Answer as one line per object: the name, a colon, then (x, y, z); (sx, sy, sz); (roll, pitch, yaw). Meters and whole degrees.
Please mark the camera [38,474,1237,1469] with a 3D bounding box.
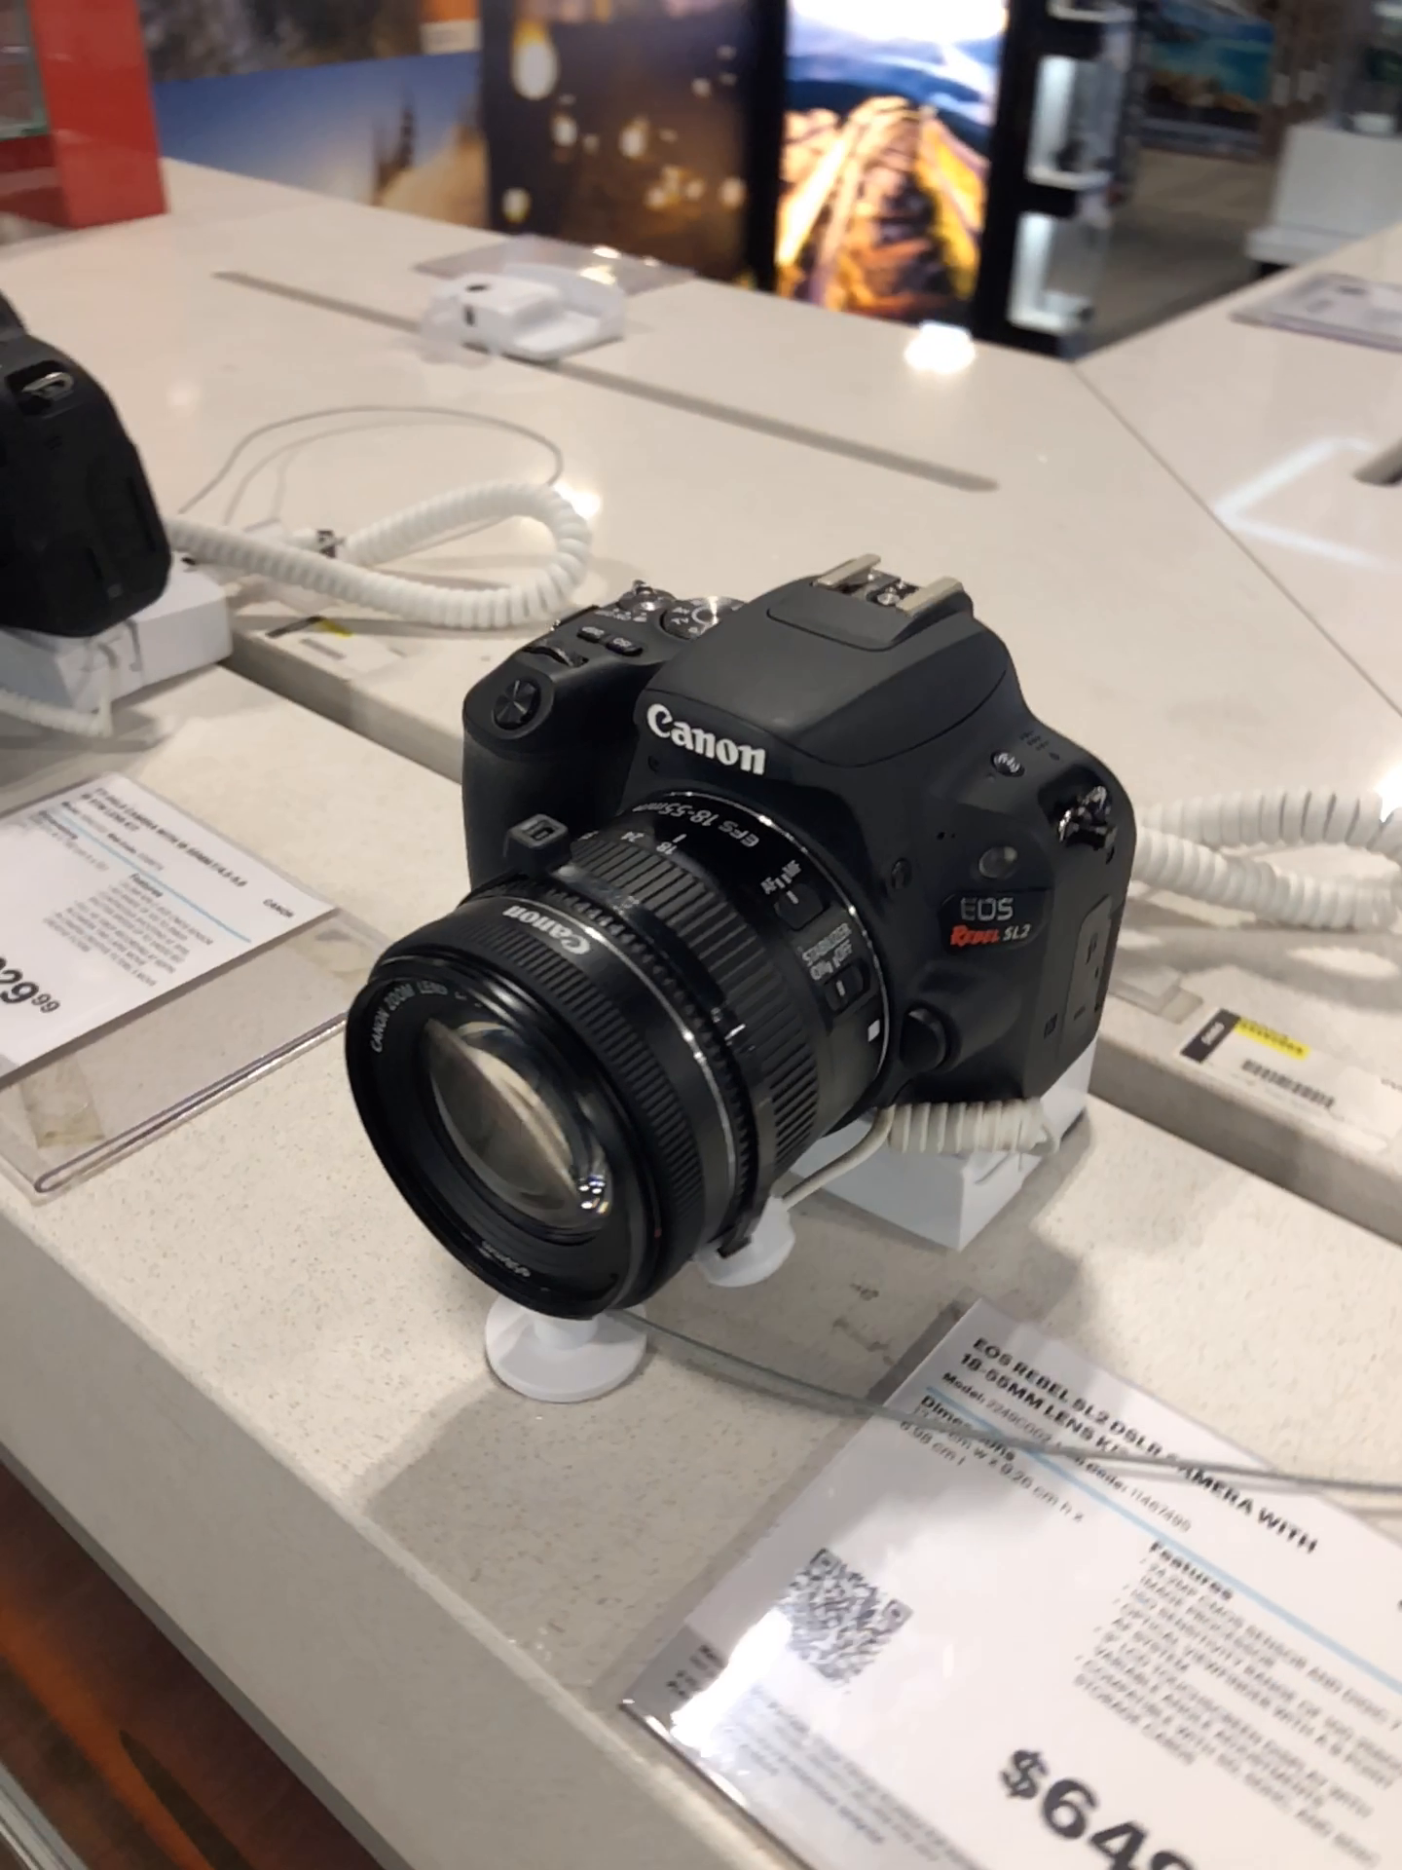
camera: (-0.006, -0.013, 0.275); (0.130, 0.070, 0.151); (26, 43, 31)
